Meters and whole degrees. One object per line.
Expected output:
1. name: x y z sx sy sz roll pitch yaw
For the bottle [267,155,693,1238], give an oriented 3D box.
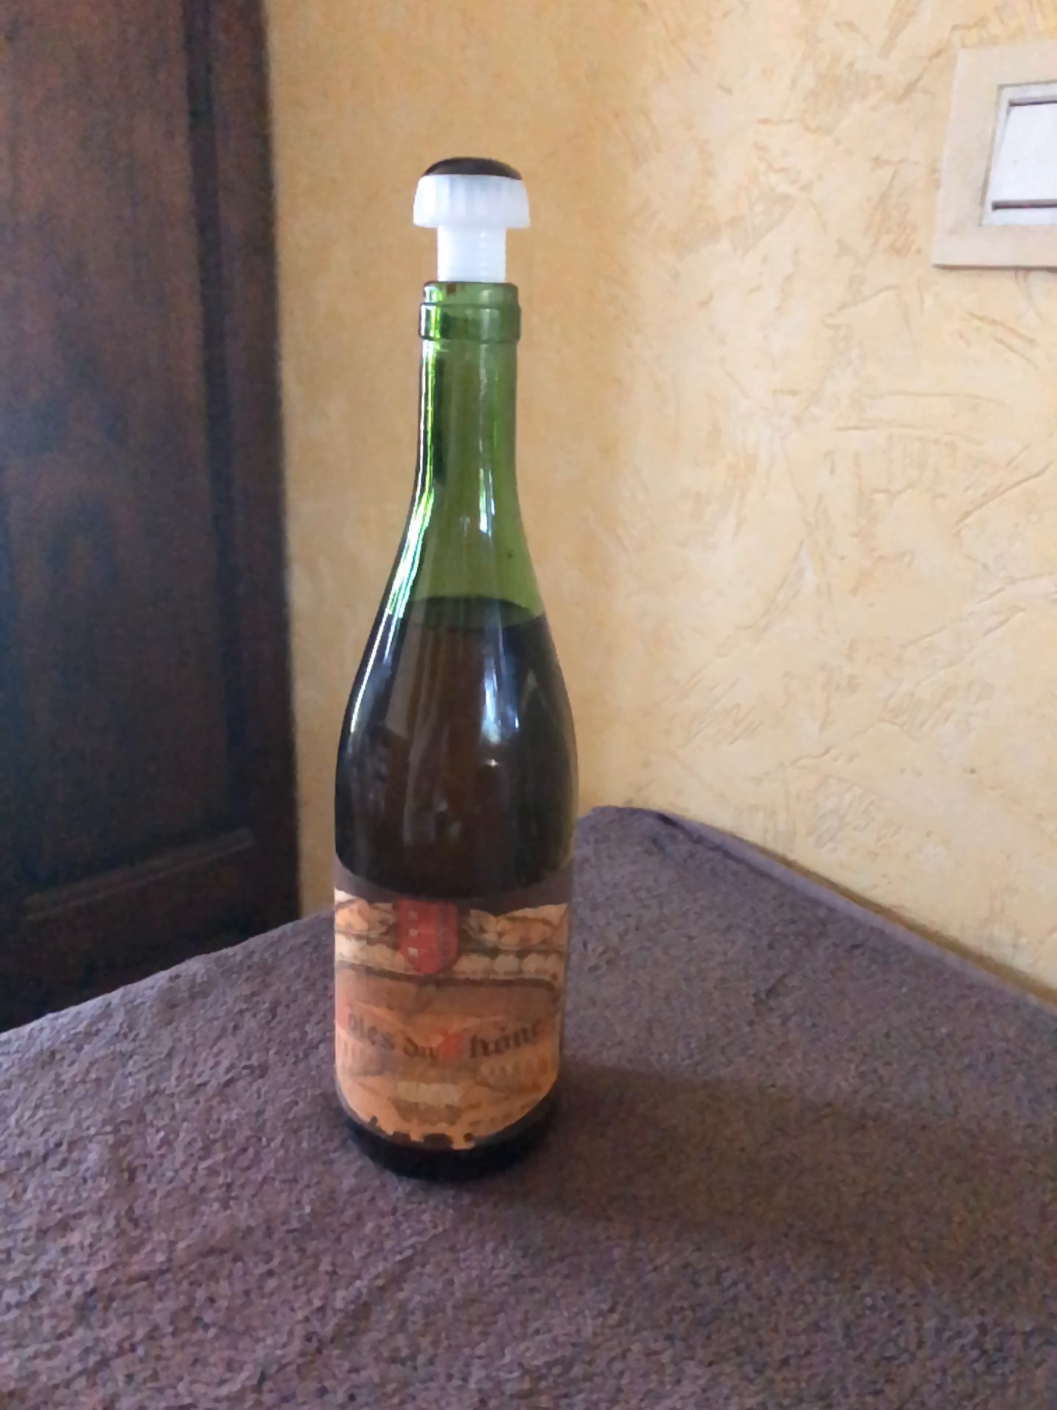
1. bottle: -0.013 0.001 0.371 0.090 0.309 0.091 2 18 -1
